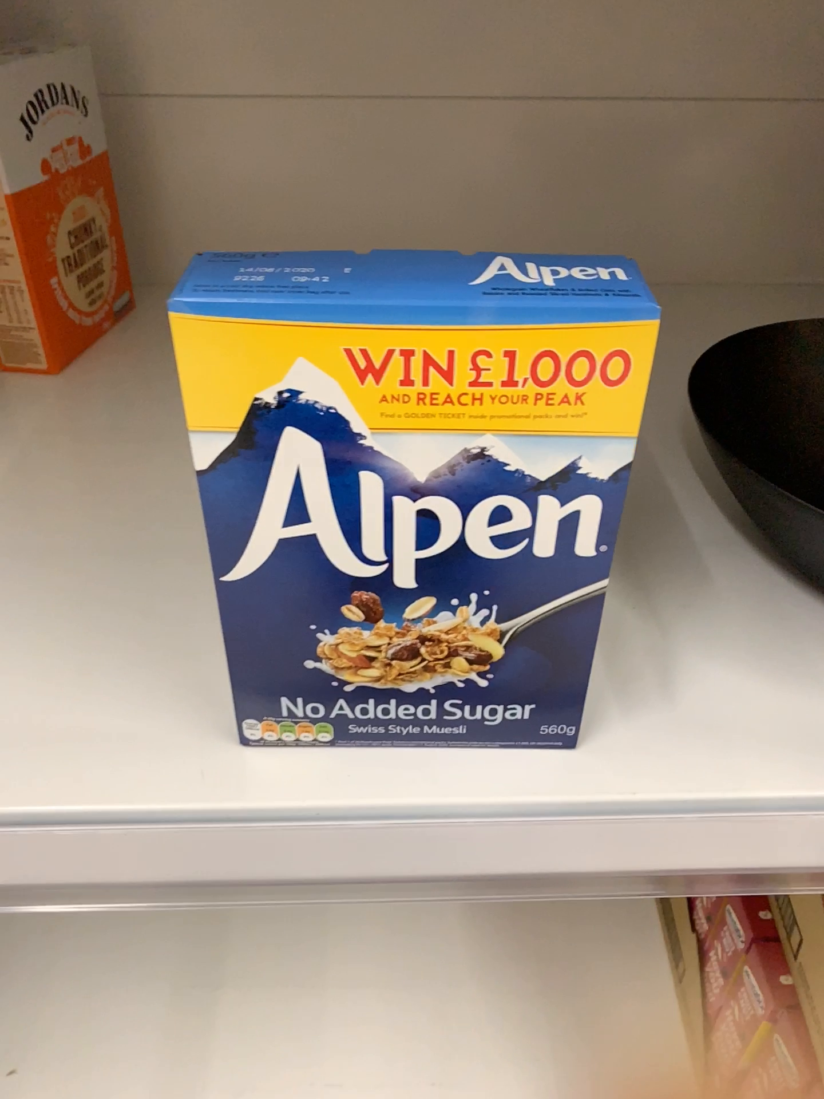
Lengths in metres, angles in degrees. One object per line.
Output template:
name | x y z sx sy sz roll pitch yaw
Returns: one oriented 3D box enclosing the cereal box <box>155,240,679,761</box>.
cereal box | 0.001 -0.009 0.386 0.180 0.238 0.061 1 36 0
